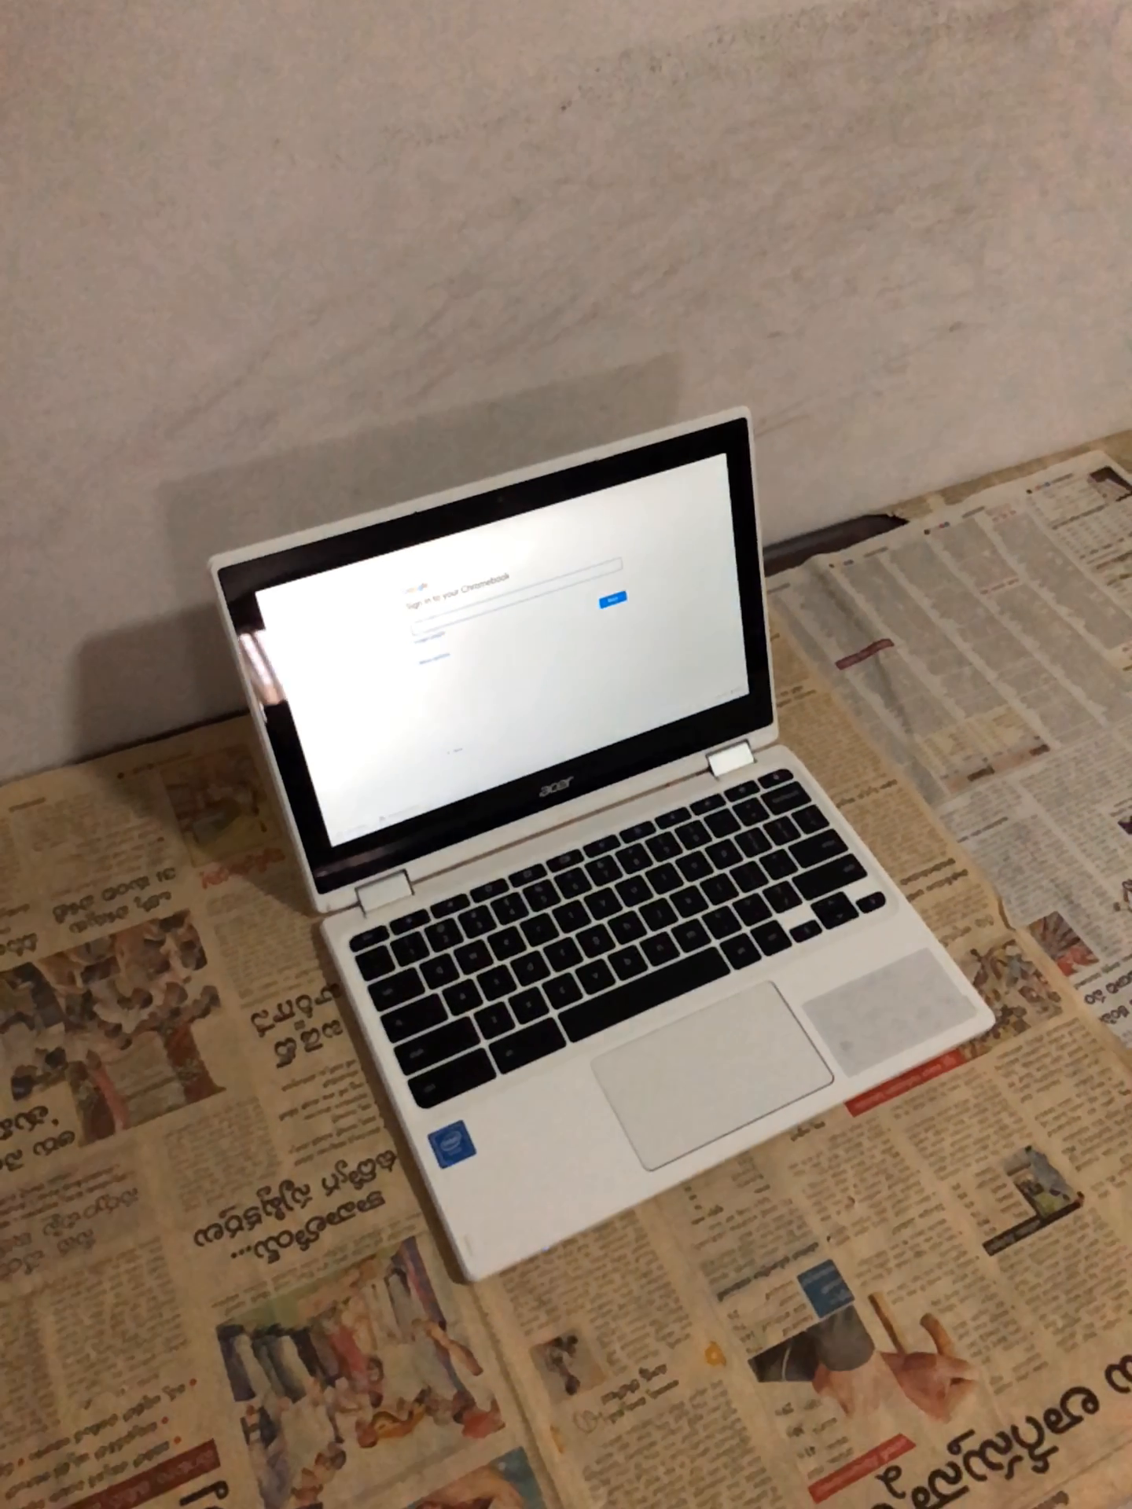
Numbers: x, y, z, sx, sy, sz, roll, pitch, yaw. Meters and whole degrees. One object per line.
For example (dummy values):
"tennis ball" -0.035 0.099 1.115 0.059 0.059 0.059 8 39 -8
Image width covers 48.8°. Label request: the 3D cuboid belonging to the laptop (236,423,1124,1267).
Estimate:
"laptop" 0.030 0.023 0.582 0.268 0.168 0.279 -20 54 -18
